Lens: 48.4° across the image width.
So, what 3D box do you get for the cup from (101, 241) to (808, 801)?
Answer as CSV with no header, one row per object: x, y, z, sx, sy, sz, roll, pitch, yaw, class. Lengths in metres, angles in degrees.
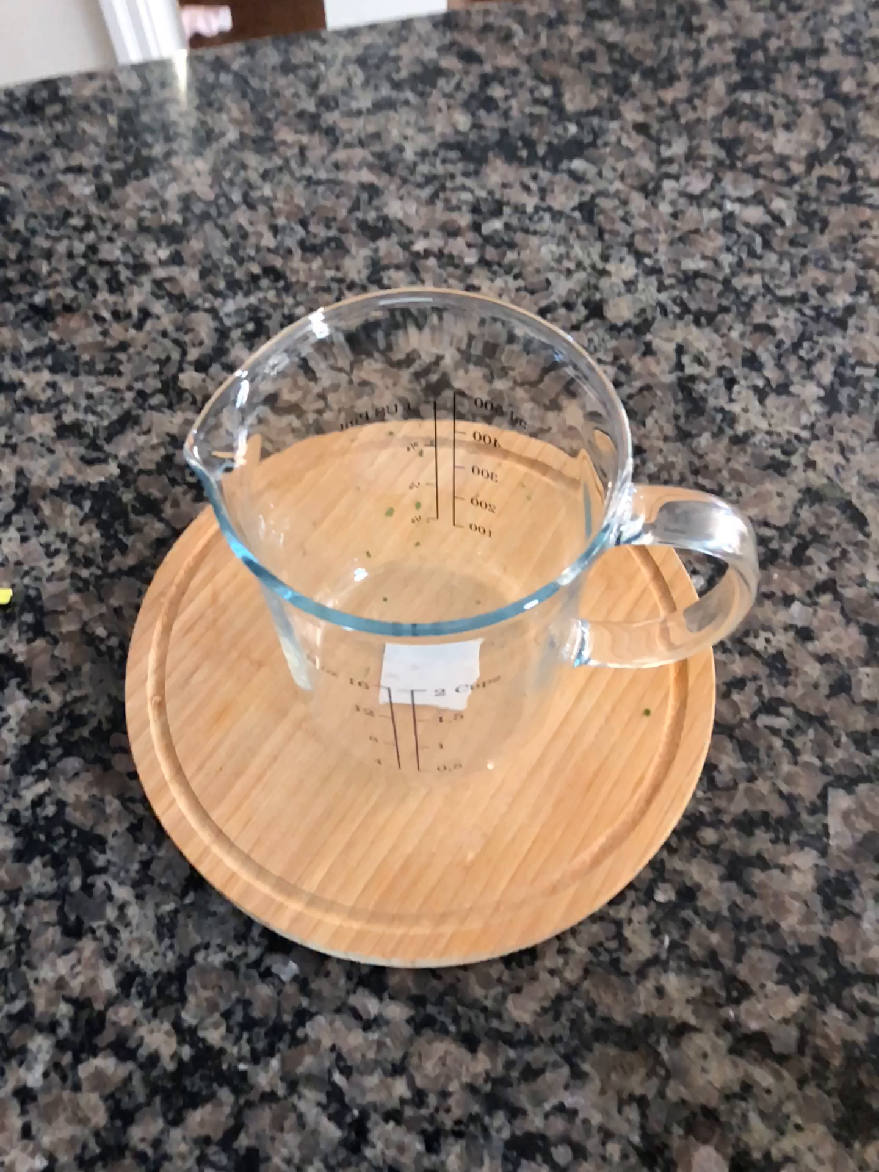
0.006,-0.012,0.289,0.150,0.128,0.105,3,60,3,cup
